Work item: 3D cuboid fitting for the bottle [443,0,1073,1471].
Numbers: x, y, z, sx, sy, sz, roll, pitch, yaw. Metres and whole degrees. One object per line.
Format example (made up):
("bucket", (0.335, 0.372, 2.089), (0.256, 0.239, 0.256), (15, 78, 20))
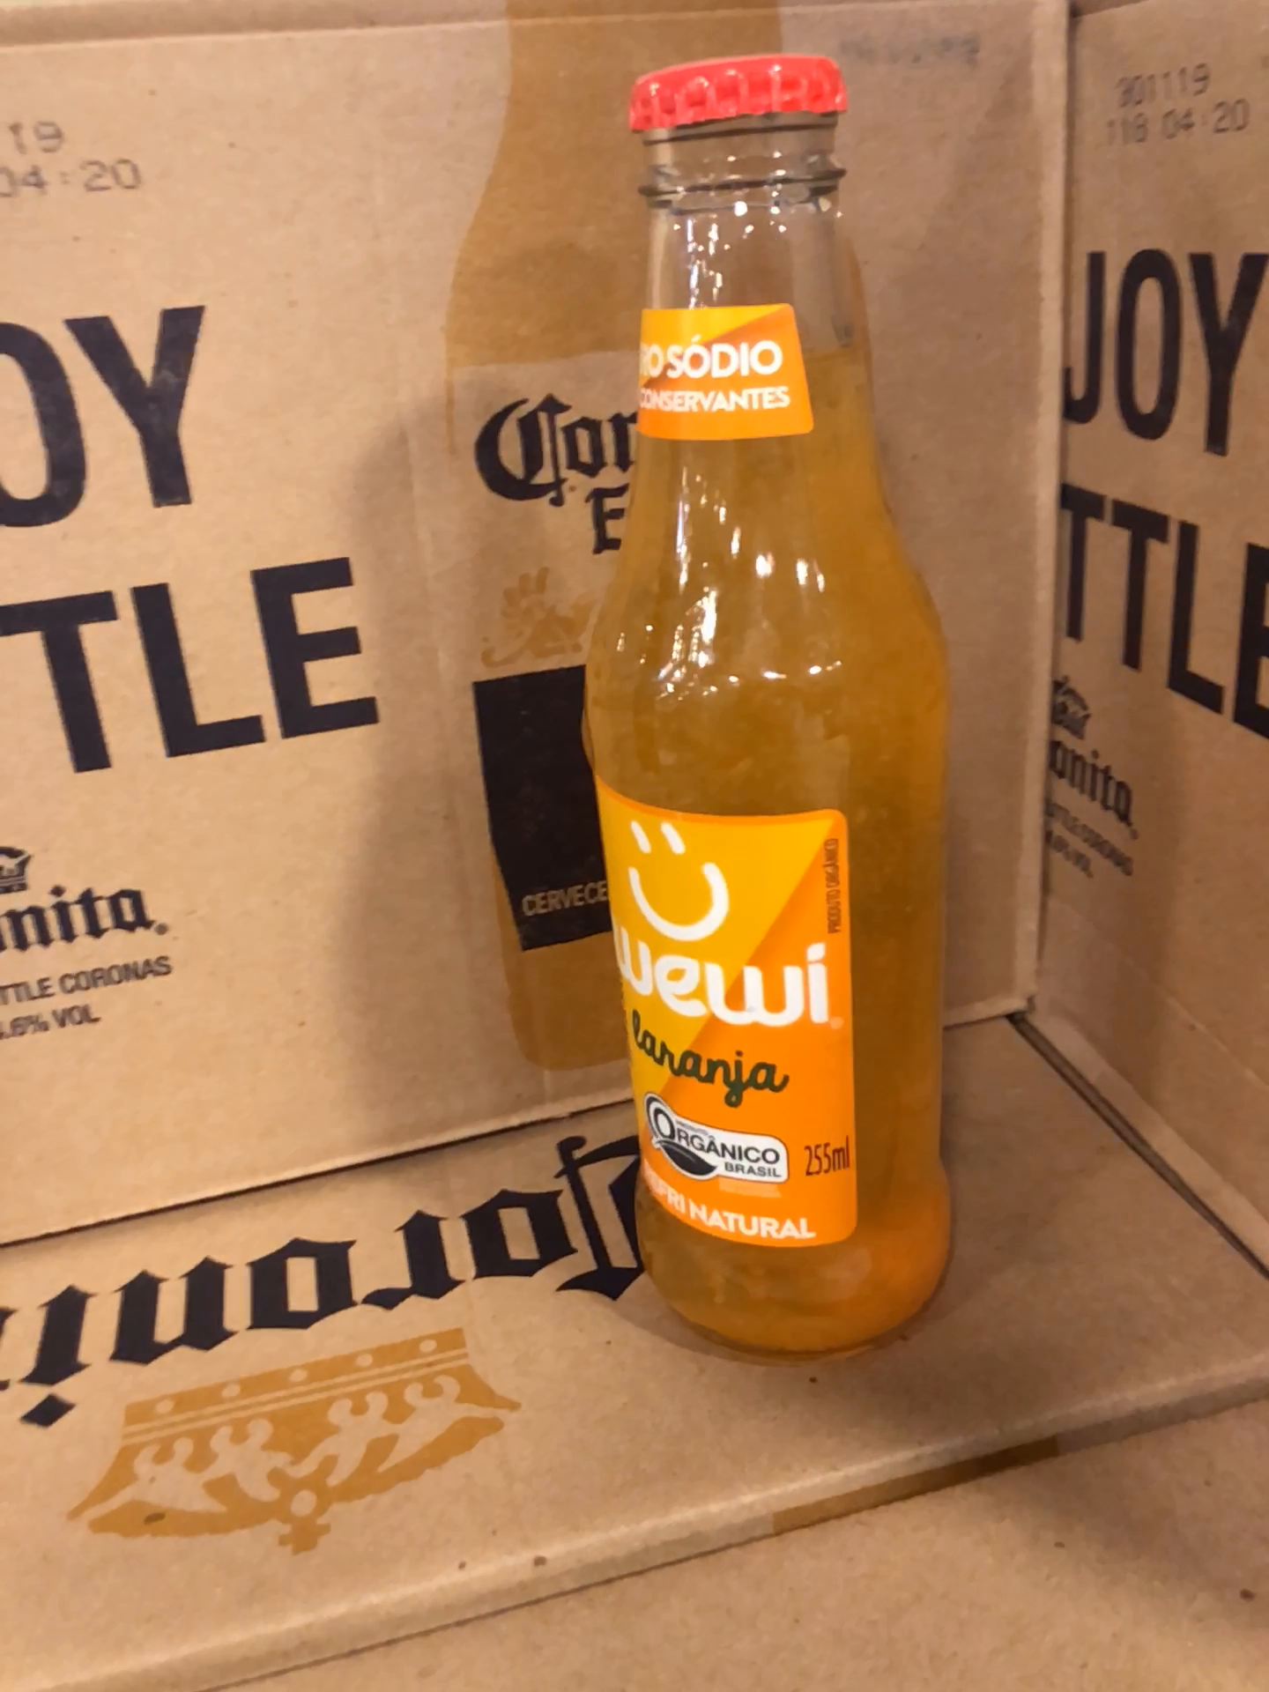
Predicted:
("bottle", (0.024, -0.011, 0.227), (0.060, 0.208, 0.060), (-4, 23, 2))
